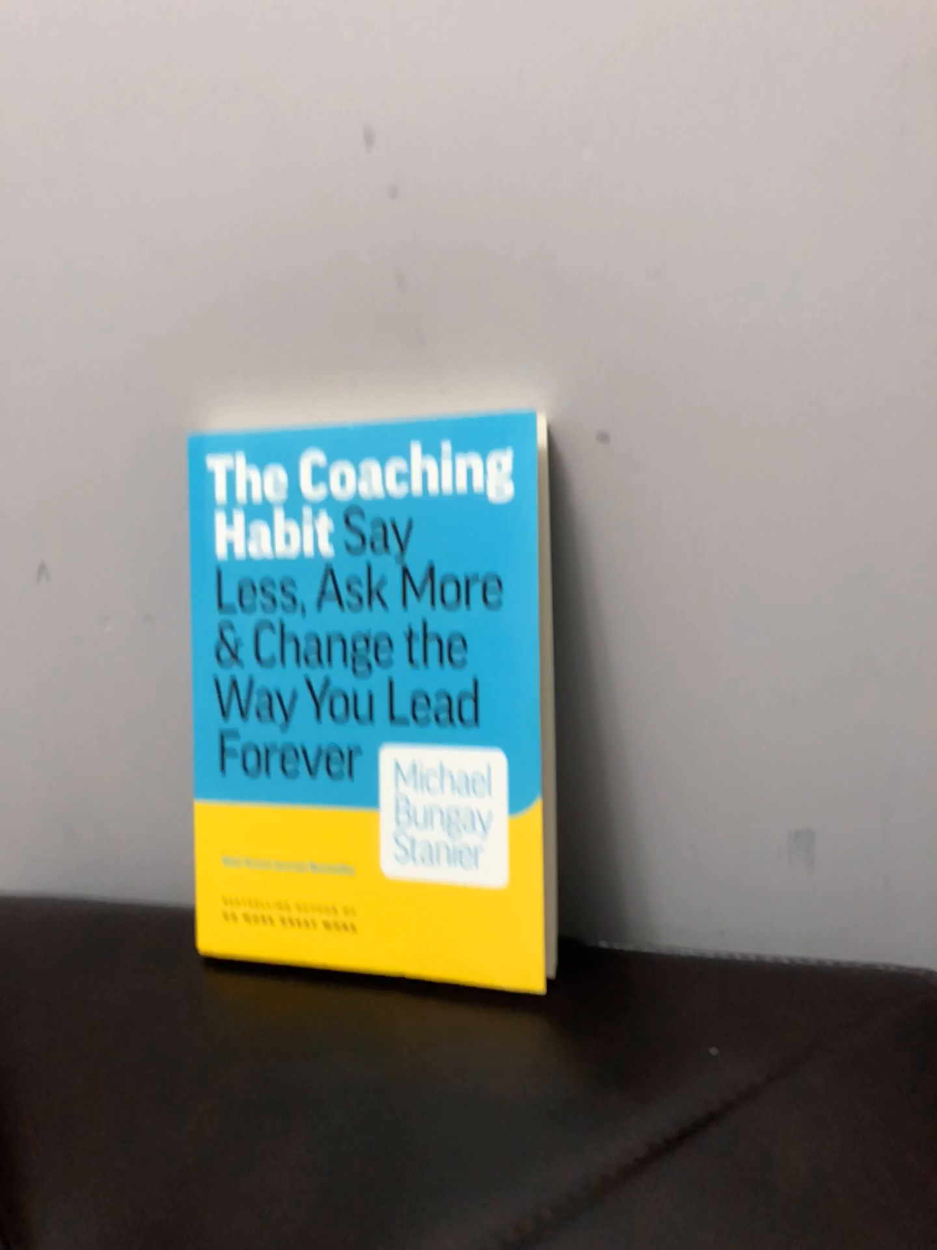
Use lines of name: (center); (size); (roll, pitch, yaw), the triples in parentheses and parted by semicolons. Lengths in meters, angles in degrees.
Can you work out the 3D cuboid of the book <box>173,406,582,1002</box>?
book: (-0.035, 0.025, 0.381); (0.145, 0.196, 0.030); (1, 0, 18)
